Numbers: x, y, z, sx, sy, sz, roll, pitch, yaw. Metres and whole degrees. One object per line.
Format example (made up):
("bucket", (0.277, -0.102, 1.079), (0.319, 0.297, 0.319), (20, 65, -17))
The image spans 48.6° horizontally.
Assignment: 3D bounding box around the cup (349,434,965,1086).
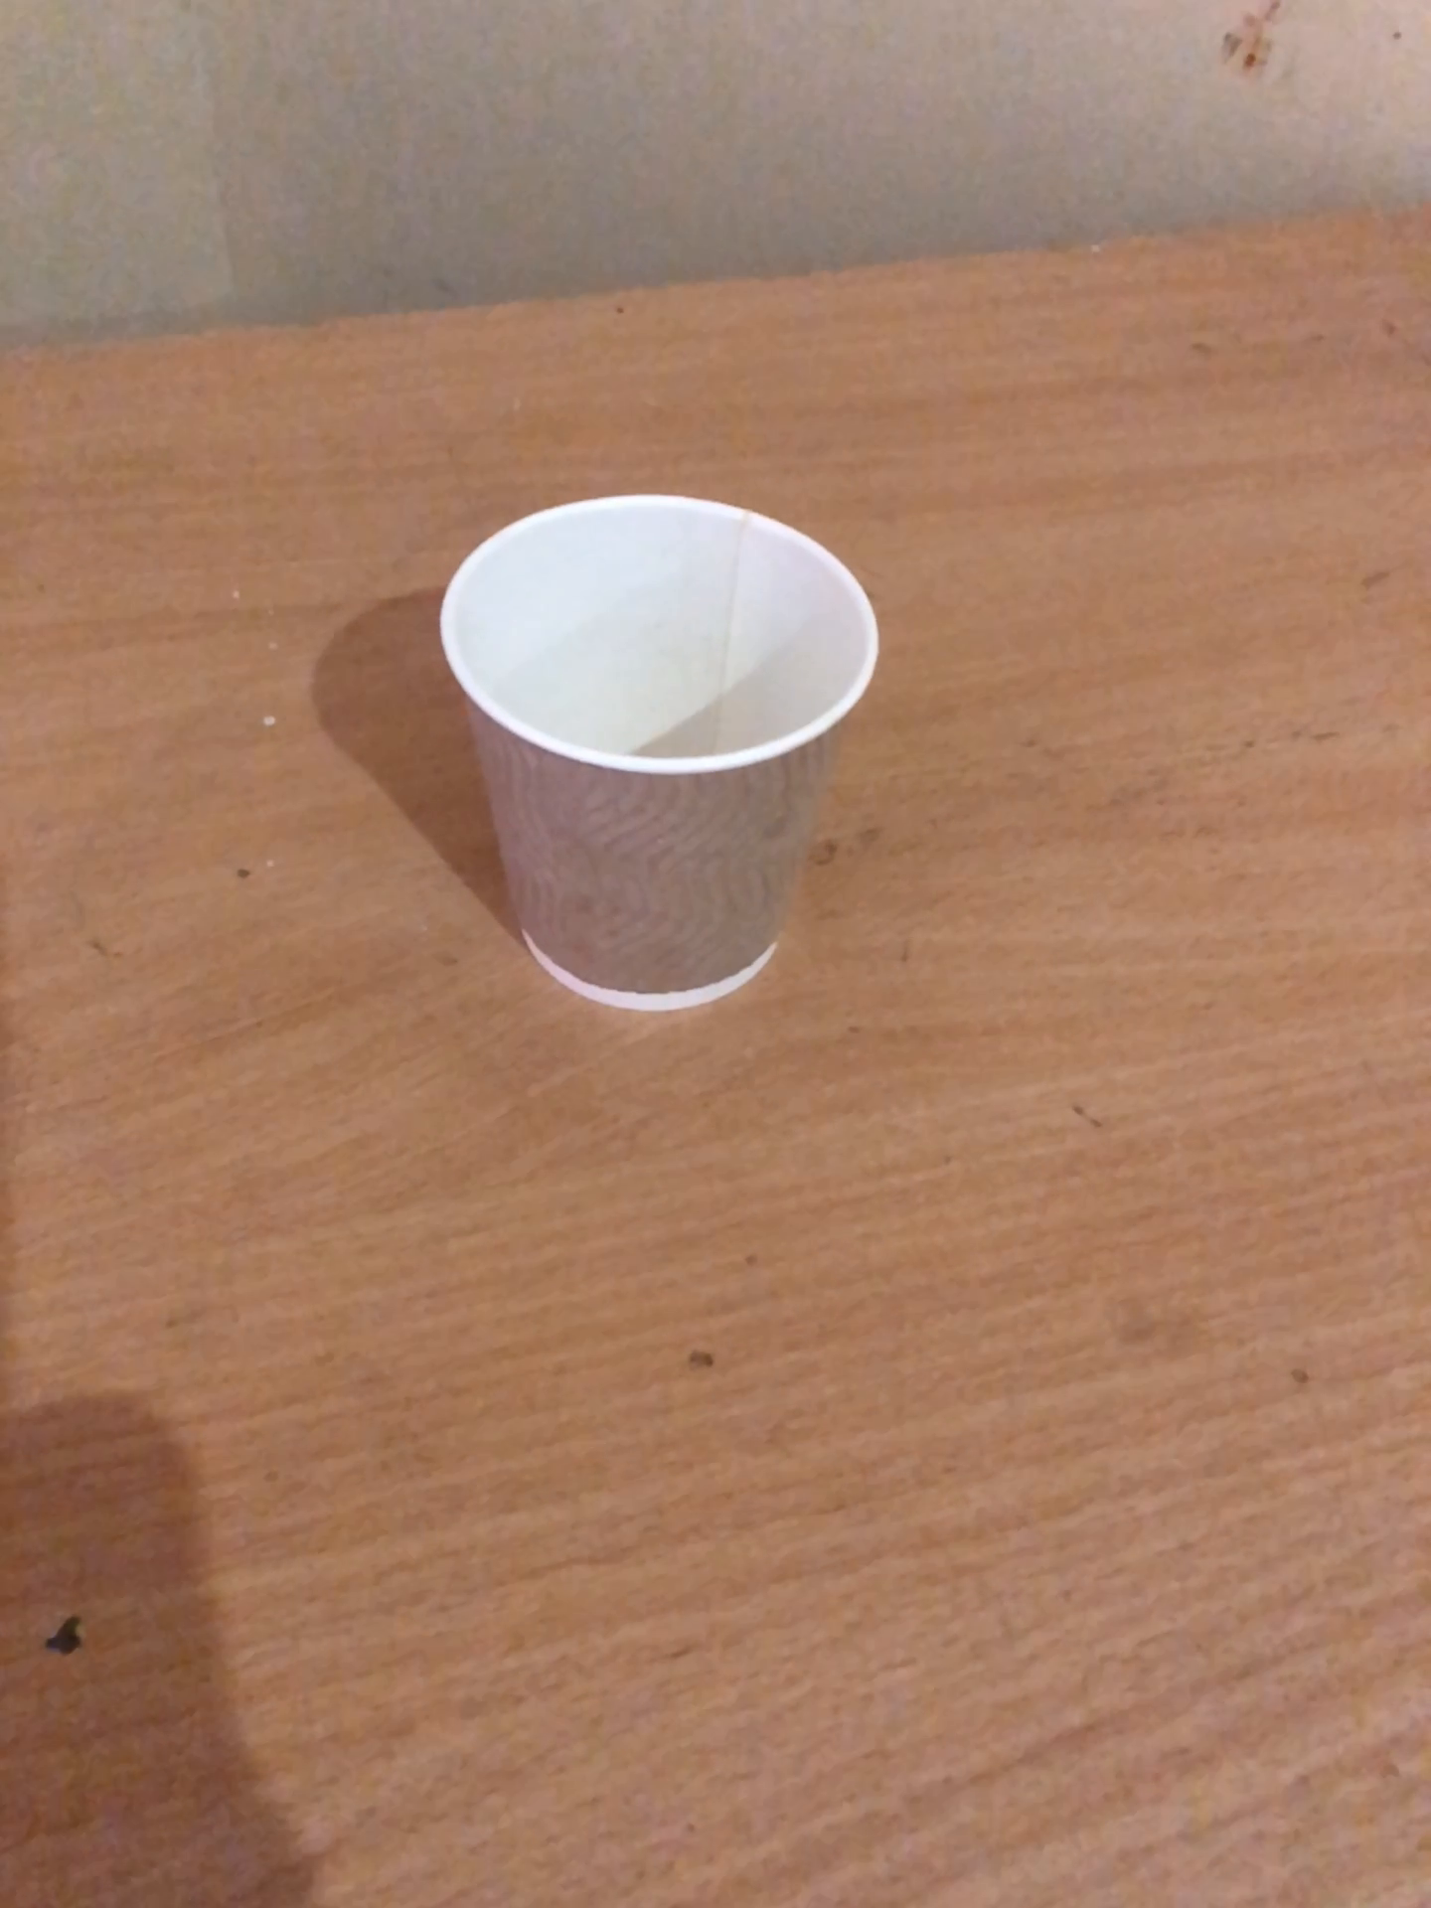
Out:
("cup", (-0.010, -0.036, 0.283), (0.074, 0.064, 0.067), (34, 58, 23))
